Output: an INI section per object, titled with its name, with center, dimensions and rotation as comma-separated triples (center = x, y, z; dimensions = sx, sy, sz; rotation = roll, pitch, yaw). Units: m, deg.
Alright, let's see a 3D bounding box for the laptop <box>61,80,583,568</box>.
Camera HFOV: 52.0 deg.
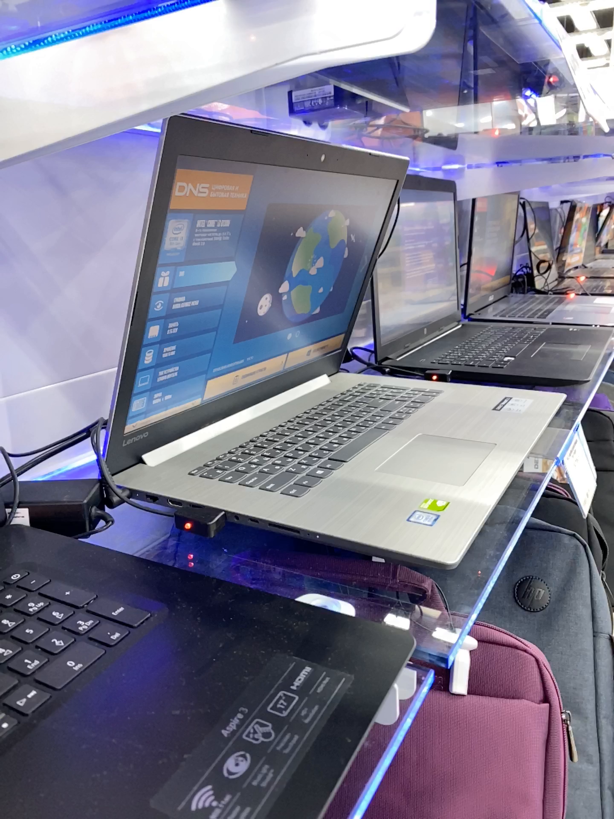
[laptop]
center = 0.060, -0.101, 0.571
dimensions = 0.279, 0.256, 0.418
rotation = 8, 18, 29
